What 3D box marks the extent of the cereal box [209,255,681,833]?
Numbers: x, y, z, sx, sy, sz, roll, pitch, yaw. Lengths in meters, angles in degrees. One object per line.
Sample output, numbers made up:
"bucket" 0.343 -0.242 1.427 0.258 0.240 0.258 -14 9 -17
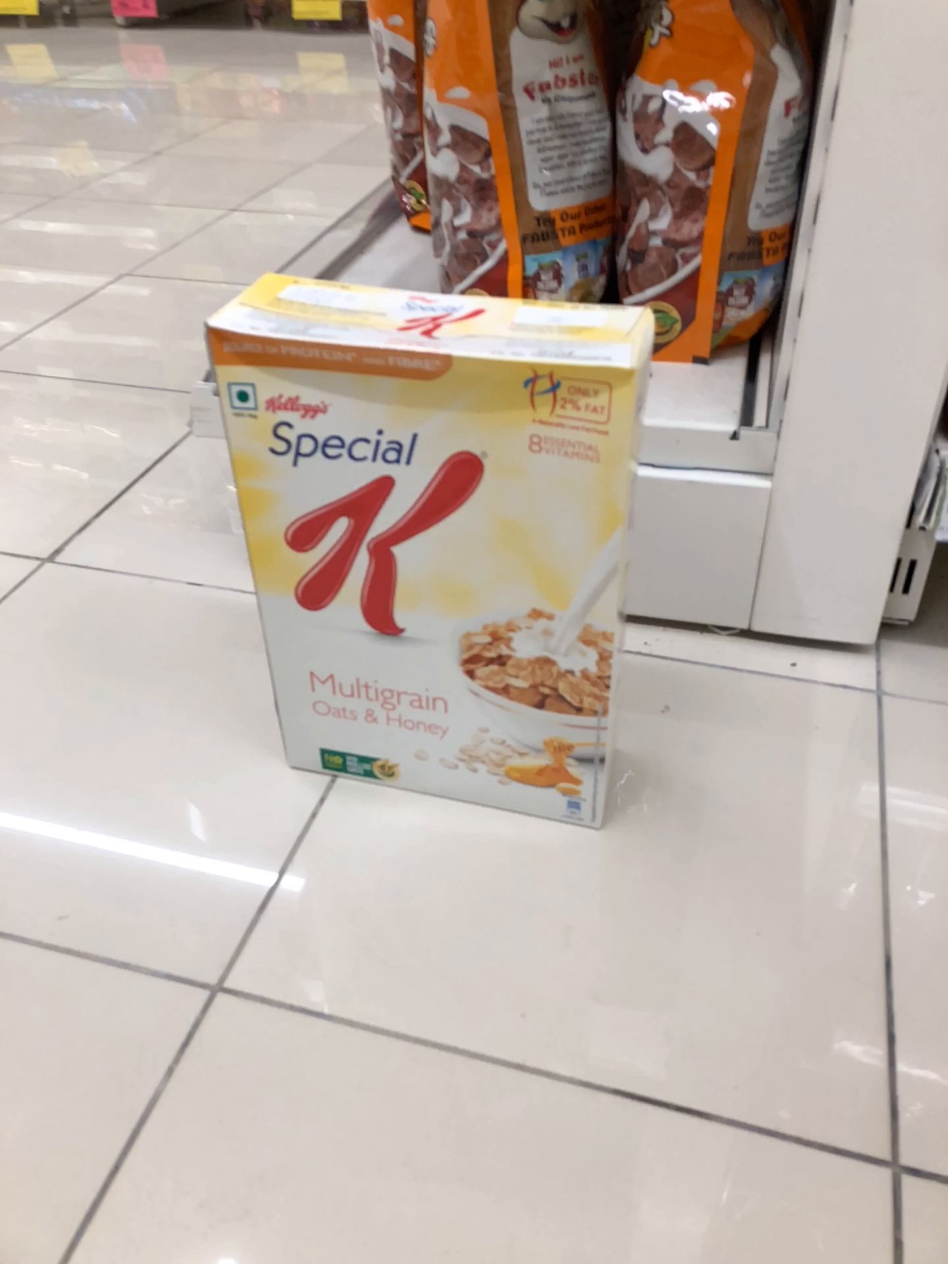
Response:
"cereal box" -0.011 -0.035 0.523 0.190 0.268 0.071 10 38 13
